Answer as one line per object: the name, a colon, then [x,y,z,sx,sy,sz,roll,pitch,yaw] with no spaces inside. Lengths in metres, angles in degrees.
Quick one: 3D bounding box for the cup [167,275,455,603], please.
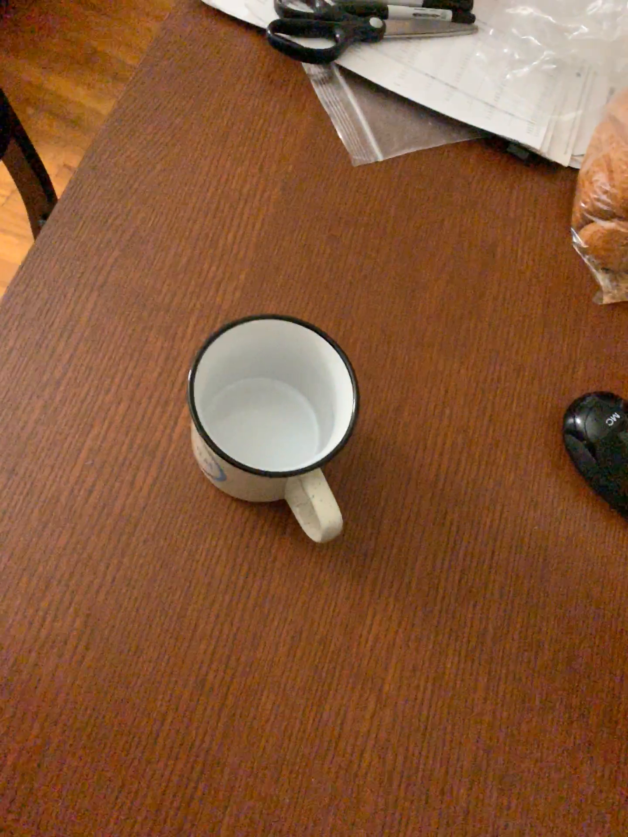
cup: [-0.011,0.016,0.390,0.100,0.100,0.150,-23,77,-18]
